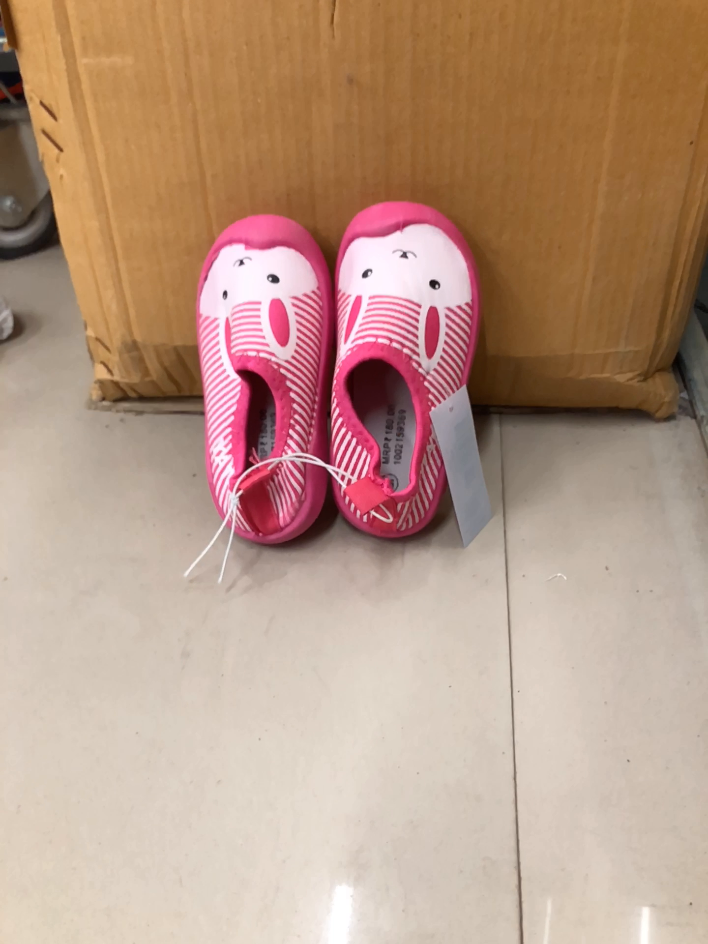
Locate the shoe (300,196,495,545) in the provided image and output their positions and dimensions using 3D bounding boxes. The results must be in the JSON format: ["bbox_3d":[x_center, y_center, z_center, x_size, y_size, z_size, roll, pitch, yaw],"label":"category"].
[{"bbox_3d":[0.027,-0.045,0.388,0.069,0.082,0.148,3,79,14],"label":"shoe"}]

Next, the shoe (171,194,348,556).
[{"bbox_3d":[-0.043,-0.042,0.390,0.069,0.082,0.157,-3,77,3],"label":"shoe"}]
